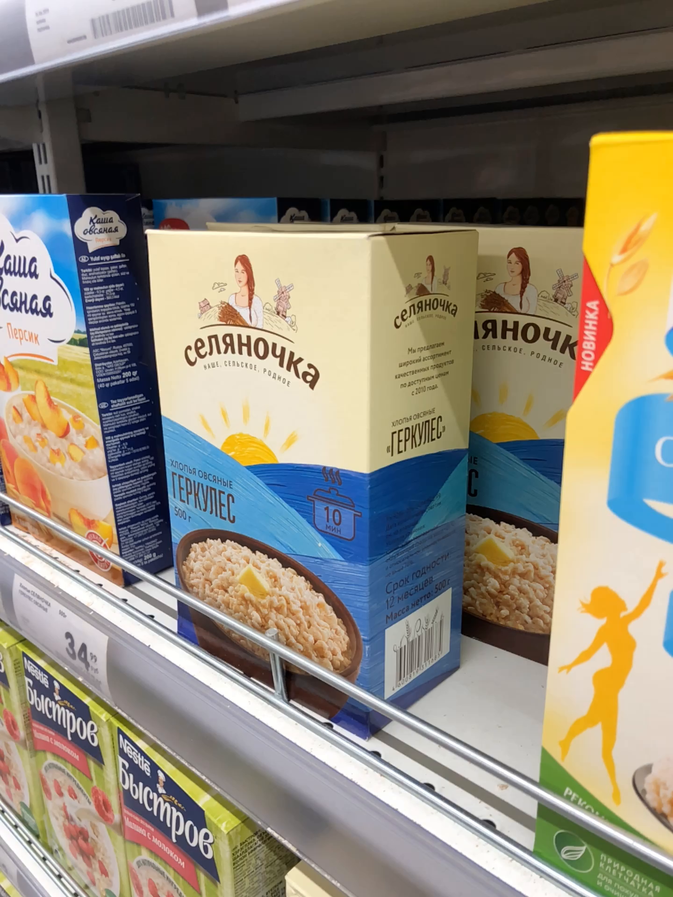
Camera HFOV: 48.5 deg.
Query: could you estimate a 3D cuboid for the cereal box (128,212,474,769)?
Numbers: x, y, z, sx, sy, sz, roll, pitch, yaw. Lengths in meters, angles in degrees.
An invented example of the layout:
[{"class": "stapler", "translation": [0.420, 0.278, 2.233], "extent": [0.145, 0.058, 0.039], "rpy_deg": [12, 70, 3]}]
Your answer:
[{"class": "cereal box", "translation": [-0.017, 0.006, 0.316], "extent": [0.130, 0.199, 0.060], "rpy_deg": [15, 24, 42]}]
